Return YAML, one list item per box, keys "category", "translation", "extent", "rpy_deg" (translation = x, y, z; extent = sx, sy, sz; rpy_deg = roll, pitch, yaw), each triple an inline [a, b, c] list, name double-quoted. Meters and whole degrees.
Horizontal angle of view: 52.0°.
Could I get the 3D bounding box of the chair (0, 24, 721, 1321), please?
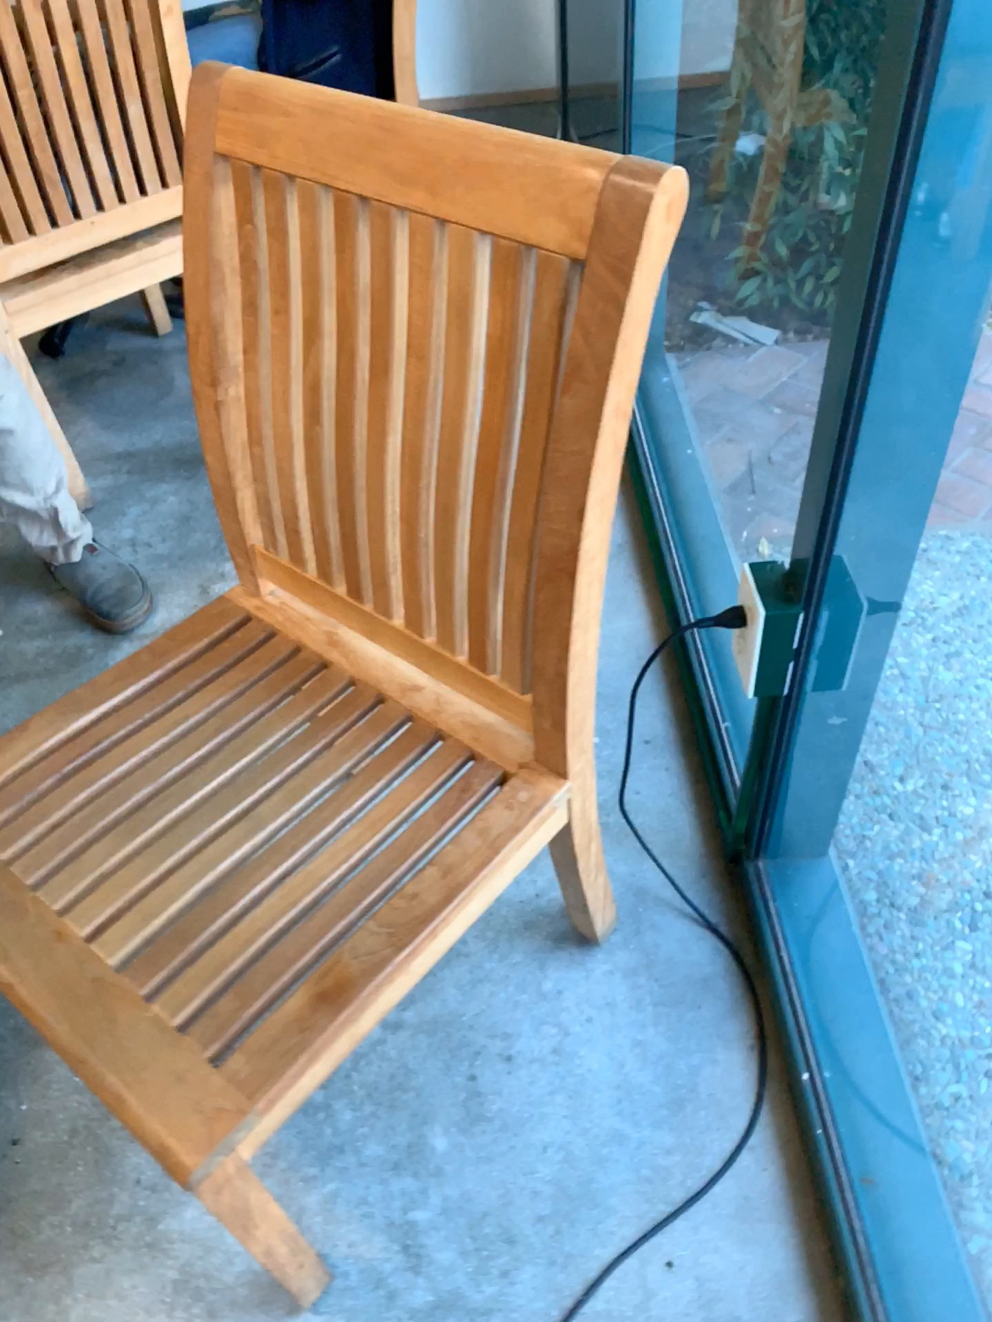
- category: "chair"
  translation: [-0.229, 0.054, 0.935]
  extent: [0.532, 0.915, 0.611]
  rpy_deg: [30, 56, 30]
